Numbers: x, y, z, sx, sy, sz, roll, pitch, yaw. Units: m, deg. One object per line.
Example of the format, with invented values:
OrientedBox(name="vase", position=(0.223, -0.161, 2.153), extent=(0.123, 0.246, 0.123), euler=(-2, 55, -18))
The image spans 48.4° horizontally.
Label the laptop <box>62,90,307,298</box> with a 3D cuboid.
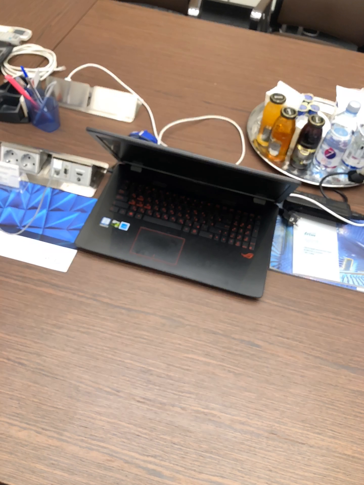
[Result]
OrientedBox(name="laptop", position=(0.011, -0.096, 0.774), extent=(0.376, 0.189, 0.238), euler=(16, 55, 6))
